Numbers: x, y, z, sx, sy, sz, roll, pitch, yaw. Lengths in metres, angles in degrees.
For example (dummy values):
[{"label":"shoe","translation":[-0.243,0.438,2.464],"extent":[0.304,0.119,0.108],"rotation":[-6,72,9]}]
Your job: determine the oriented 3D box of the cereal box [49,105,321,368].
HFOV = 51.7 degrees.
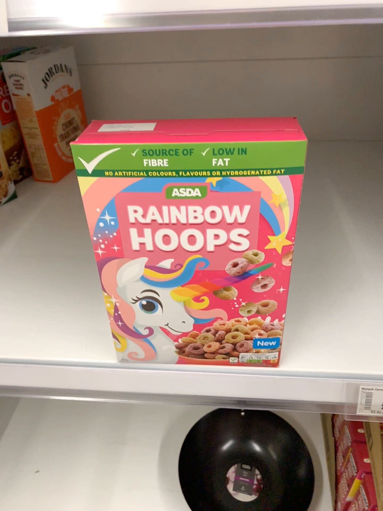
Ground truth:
[{"label":"cereal box","translation":[0.000,-0.002,0.410],"extent":[0.210,0.277,0.061],"rotation":[1,36,5]}]
